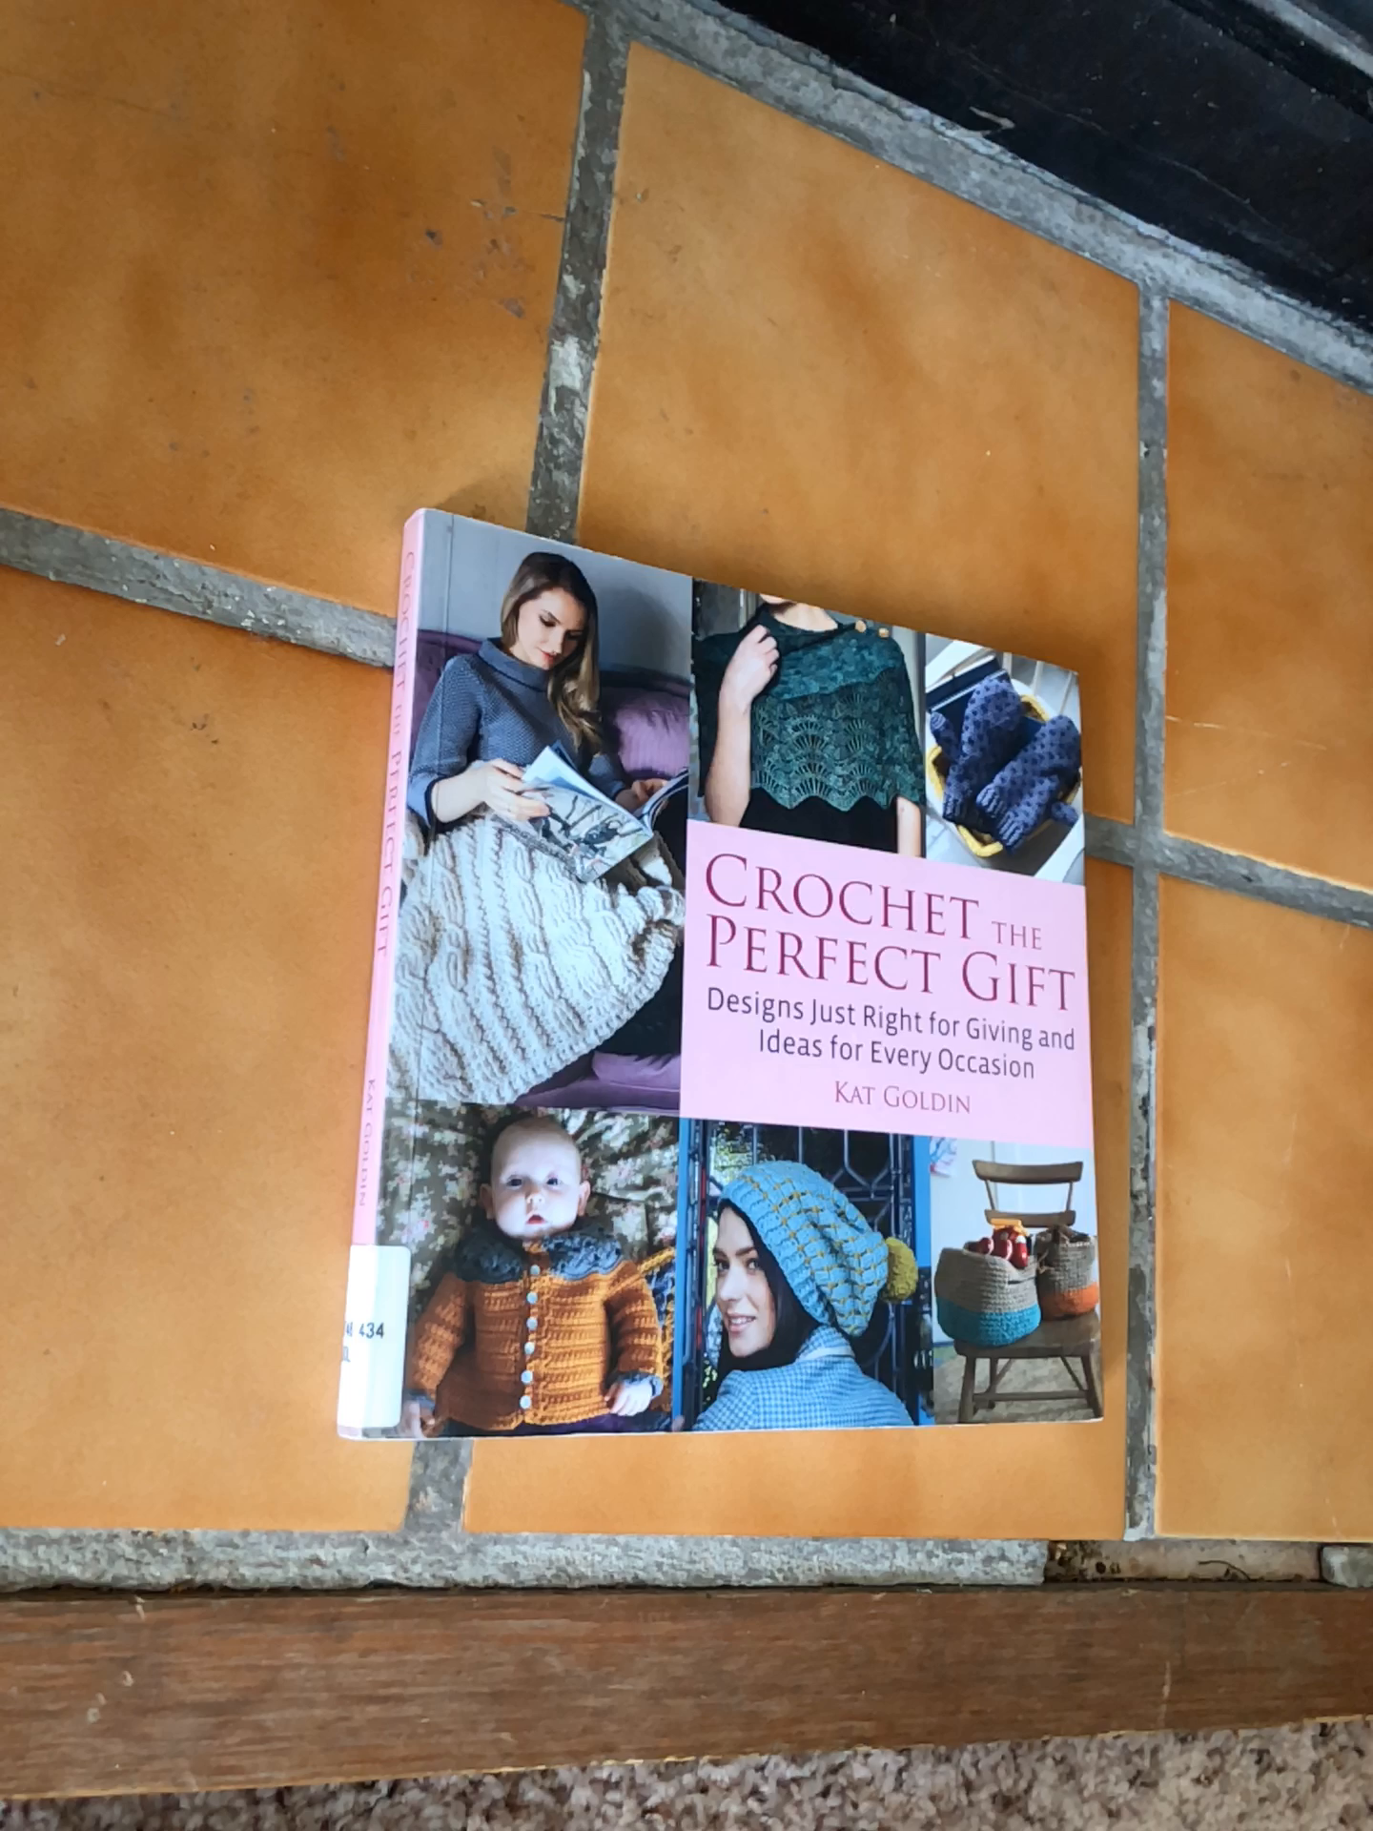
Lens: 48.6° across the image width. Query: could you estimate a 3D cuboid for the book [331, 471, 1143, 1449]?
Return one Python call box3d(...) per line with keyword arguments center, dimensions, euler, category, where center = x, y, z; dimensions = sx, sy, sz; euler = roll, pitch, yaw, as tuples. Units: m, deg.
box3d(center=(0.027, 0.018, 0.396), dimensions=(0.218, 0.020, 0.221), euler=(8, 76, -27), category="book")
